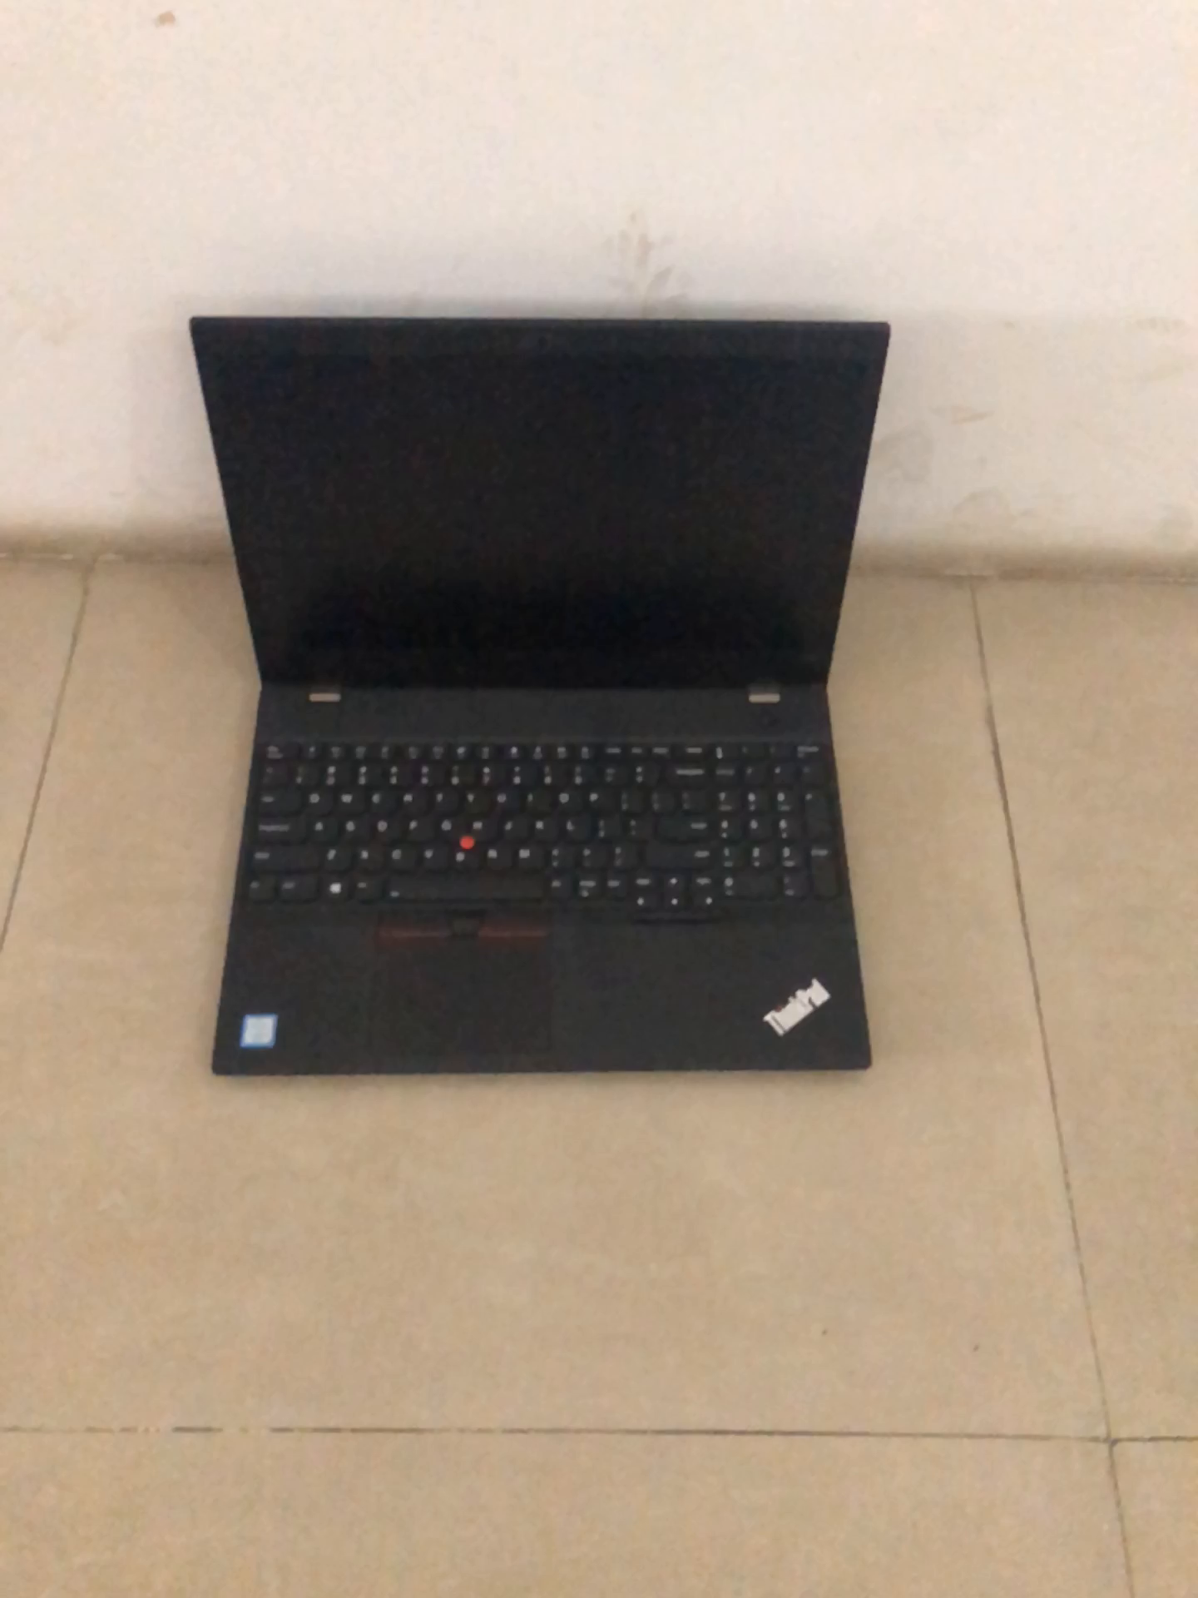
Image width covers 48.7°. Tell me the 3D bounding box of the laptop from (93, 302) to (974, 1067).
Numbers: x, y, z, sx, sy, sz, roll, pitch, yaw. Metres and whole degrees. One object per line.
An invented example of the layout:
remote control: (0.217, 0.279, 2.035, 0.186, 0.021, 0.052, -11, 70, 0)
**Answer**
laptop: (-0.030, -0.055, 0.696, 0.351, 0.215, 0.328, 0, 62, -2)
